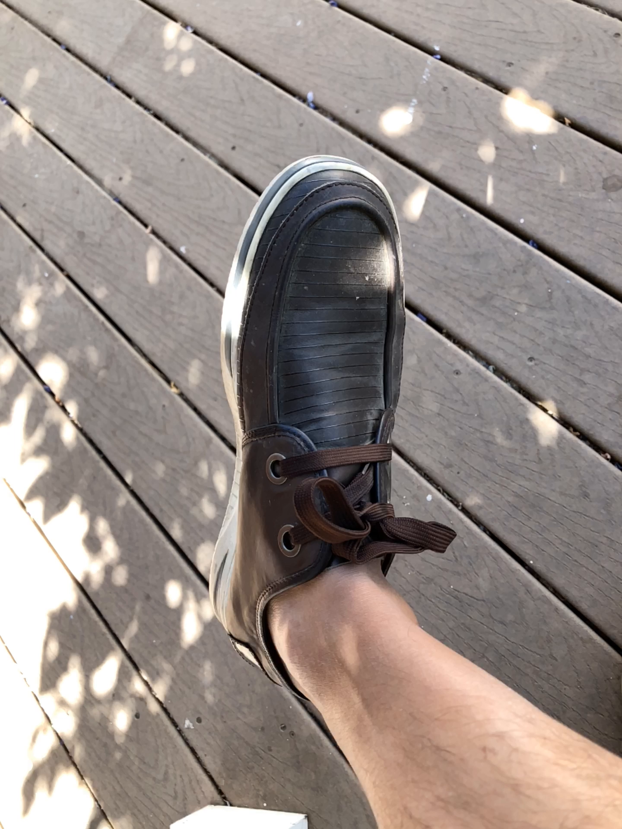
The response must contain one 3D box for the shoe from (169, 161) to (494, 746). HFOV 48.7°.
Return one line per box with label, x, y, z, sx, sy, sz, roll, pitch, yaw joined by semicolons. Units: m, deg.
shoe;-0.007;0.024;0.350;0.092;0.102;0.275;44;137;48
